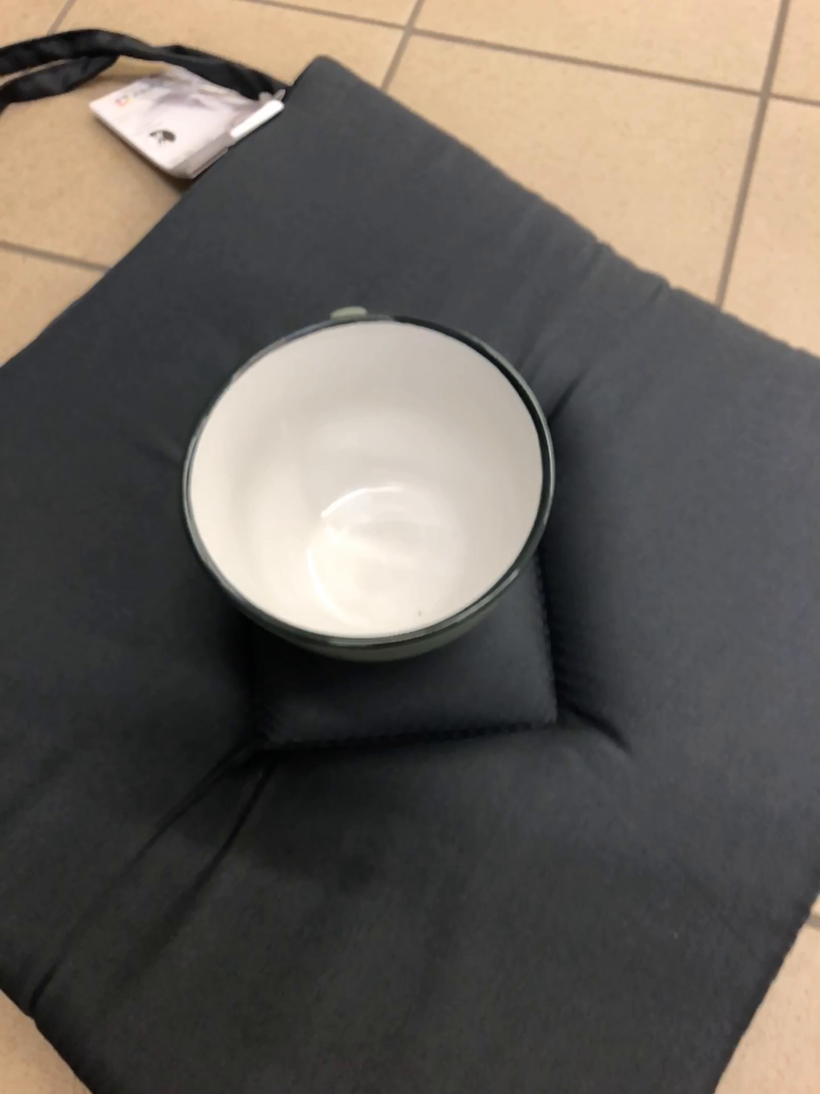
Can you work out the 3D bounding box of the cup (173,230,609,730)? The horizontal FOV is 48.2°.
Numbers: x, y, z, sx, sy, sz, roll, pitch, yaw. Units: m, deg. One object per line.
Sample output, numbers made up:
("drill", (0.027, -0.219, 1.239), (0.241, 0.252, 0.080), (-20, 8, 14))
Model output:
("cup", (-0.011, -0.022, 0.313), (0.120, 0.070, 0.140), (-7, 67, 0))
